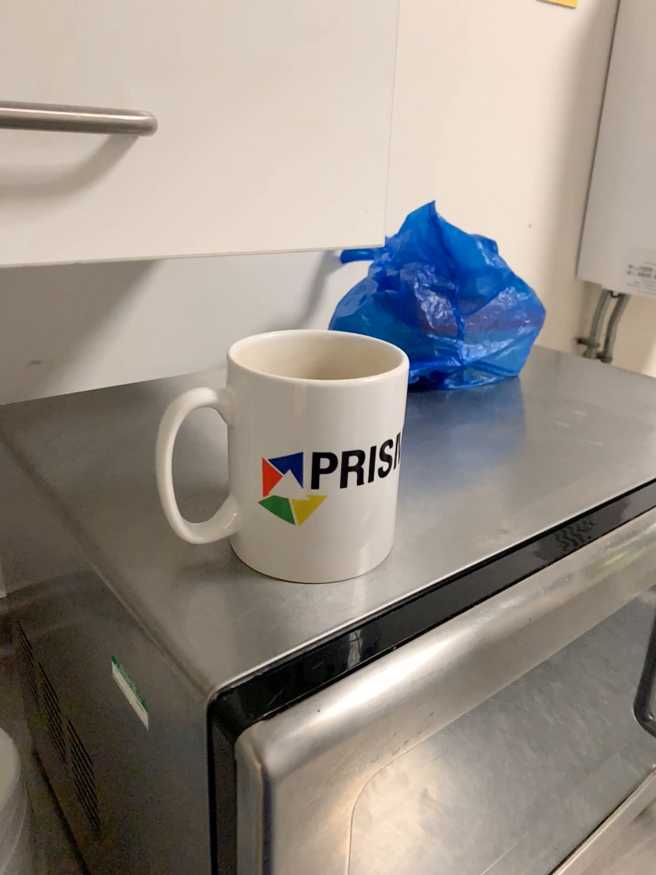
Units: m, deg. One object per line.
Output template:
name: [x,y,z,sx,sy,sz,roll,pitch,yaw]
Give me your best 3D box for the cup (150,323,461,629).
cup: [-0.017,0.009,0.318,0.113,0.099,0.095,-6,23,-20]
